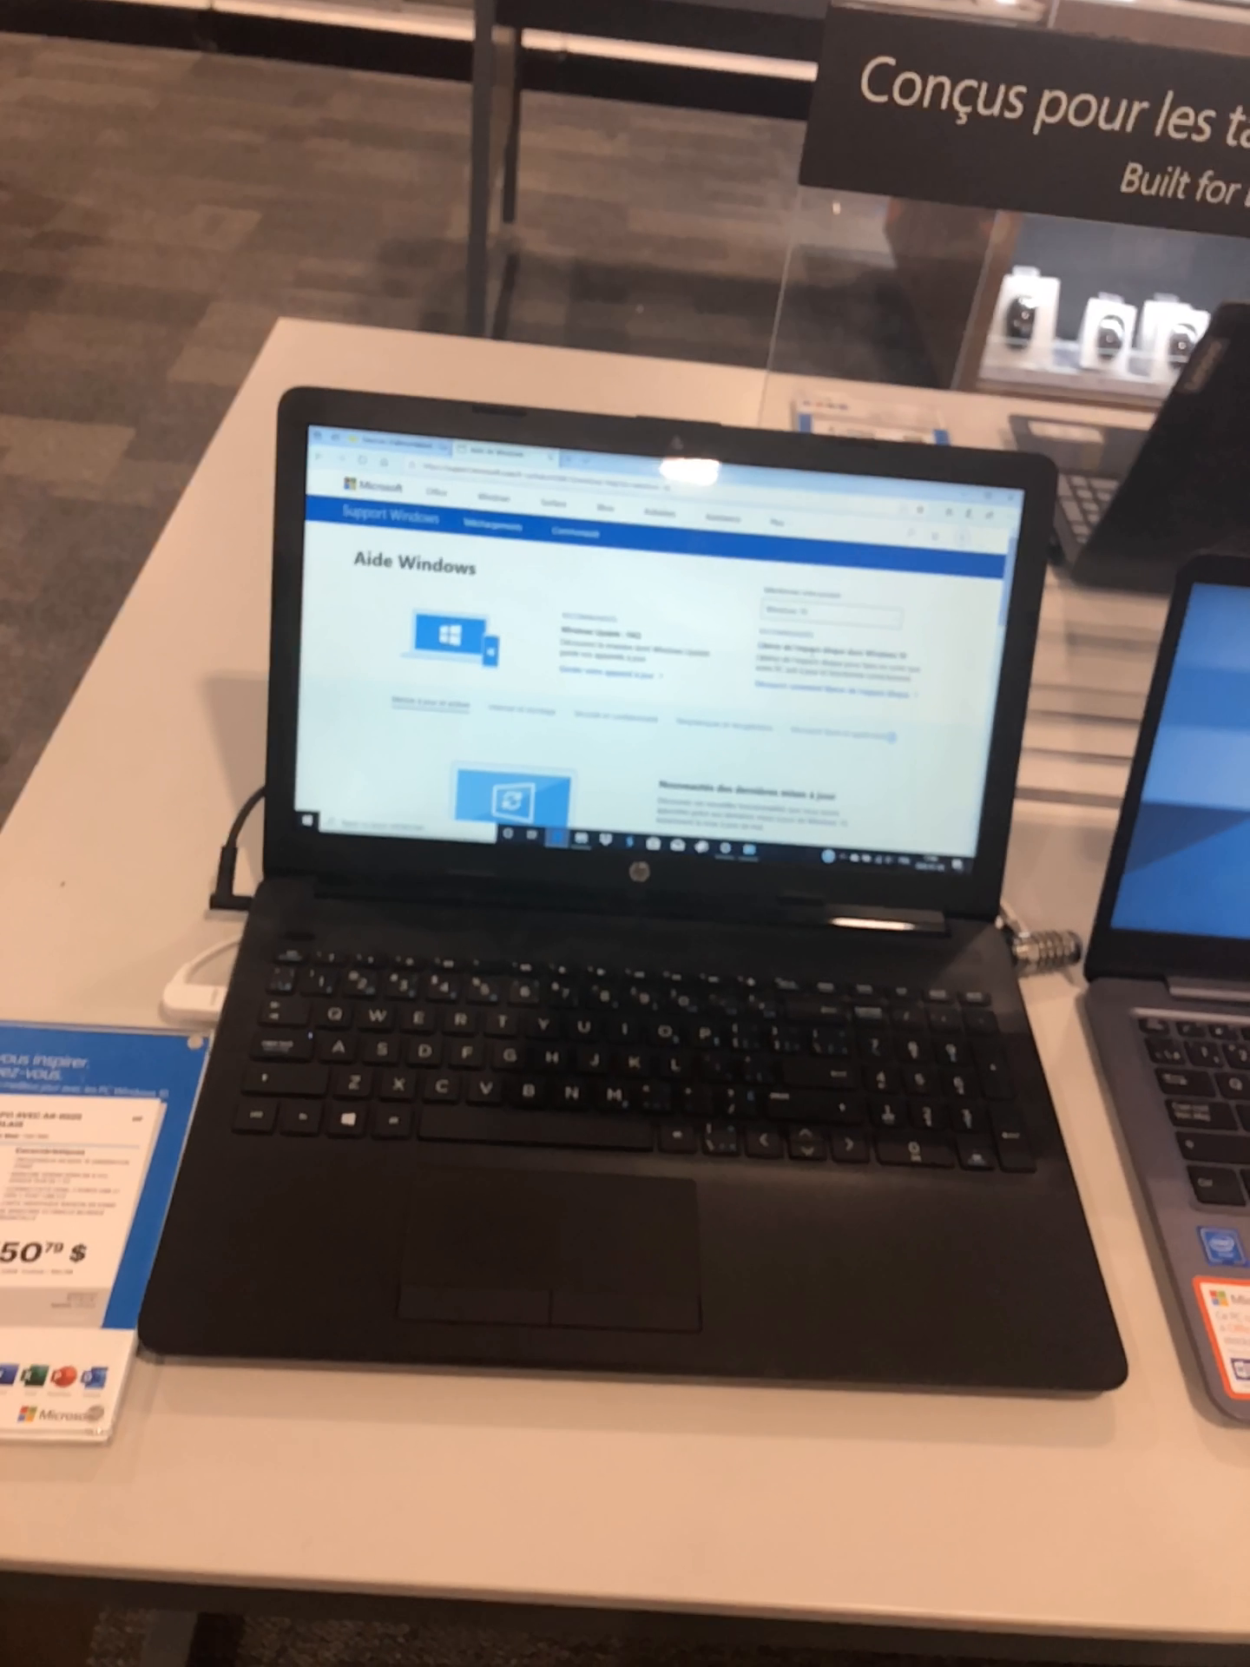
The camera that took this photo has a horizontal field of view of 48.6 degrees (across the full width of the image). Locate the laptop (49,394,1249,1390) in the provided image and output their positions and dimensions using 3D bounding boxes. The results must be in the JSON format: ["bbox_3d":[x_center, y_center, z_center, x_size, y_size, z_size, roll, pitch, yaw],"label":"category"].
[{"bbox_3d":[0.014,0.001,0.574,0.356,0.194,0.361,4,41,-3],"label":"laptop"}]
